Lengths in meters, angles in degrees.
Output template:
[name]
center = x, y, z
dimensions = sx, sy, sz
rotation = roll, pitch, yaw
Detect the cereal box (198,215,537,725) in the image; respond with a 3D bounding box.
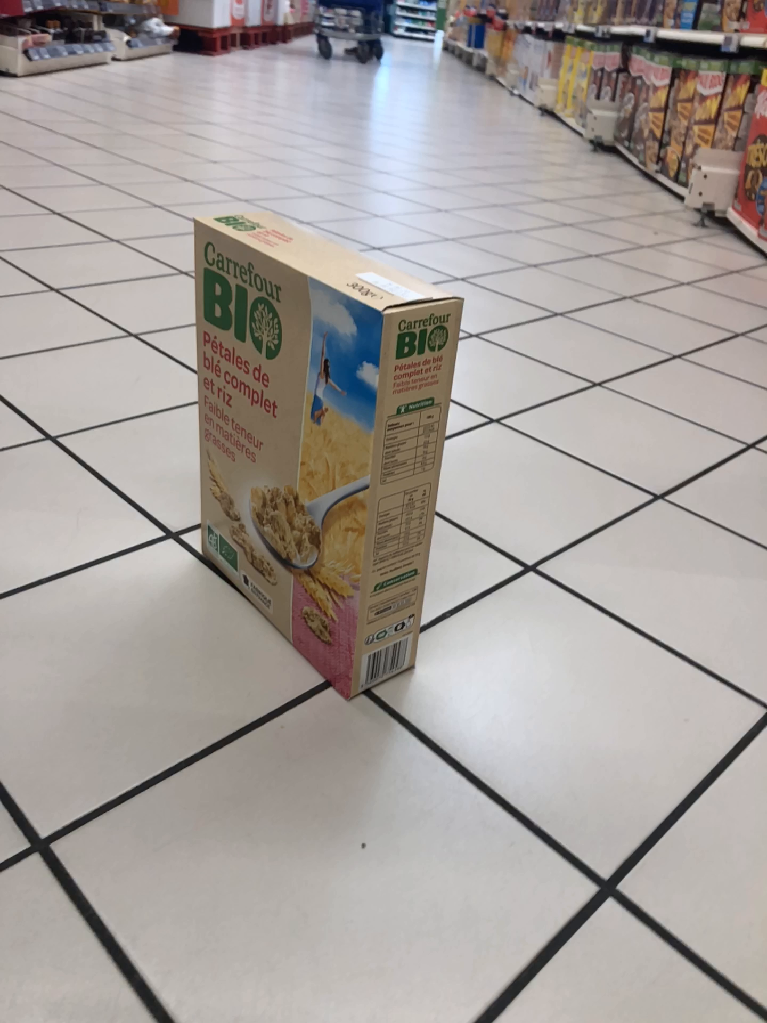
[cereal box]
center = -0.031, -0.036, 0.525
dimensions = 0.080, 0.239, 0.210
rotation = -15, 37, -34
